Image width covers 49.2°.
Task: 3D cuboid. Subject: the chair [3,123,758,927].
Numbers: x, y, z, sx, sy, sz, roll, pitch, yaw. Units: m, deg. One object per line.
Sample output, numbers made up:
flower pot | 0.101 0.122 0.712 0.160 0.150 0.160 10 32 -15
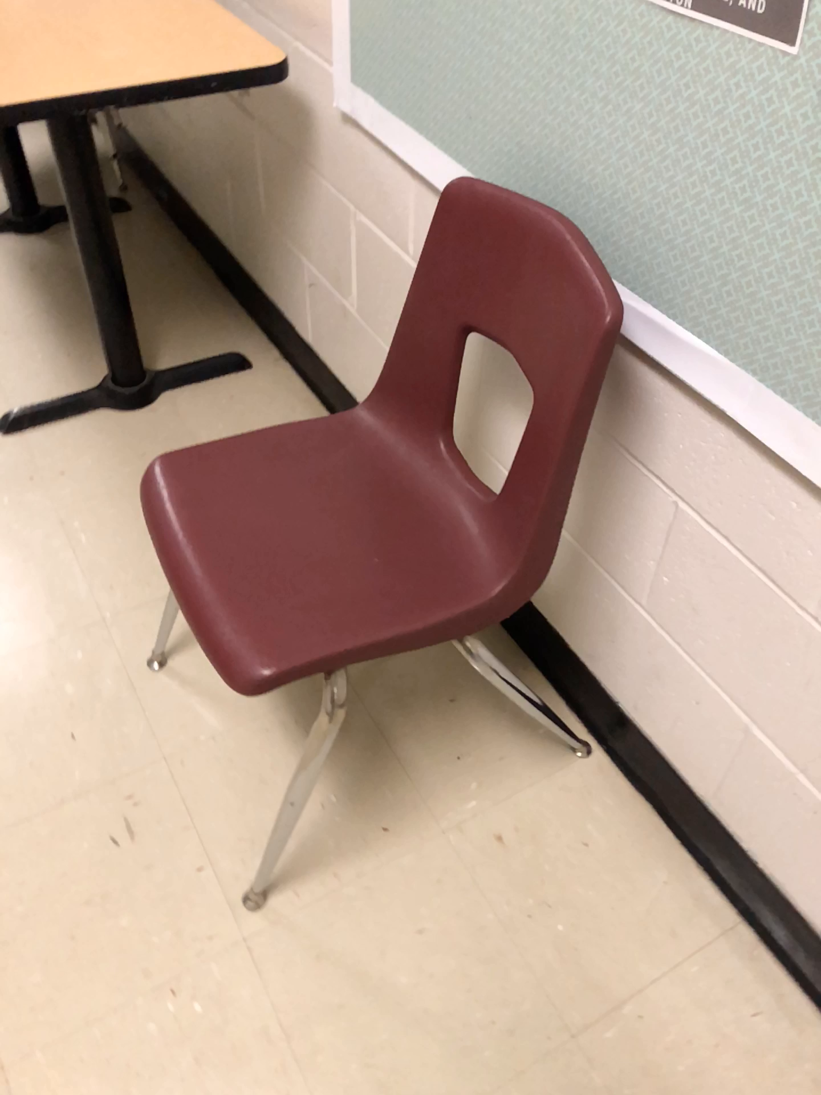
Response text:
chair | -0.064 -0.025 1.110 0.553 0.707 0.506 -20 50 -20
